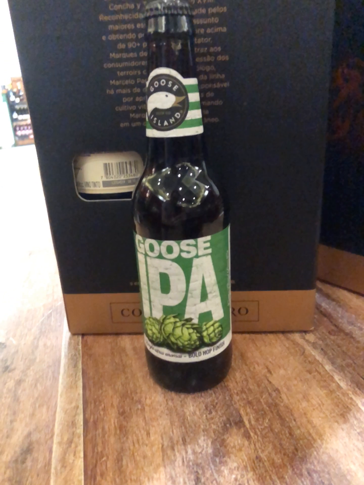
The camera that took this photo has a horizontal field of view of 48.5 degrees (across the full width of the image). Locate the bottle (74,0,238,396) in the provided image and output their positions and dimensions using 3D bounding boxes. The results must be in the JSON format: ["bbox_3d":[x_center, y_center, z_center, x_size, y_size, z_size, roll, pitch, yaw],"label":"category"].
[{"bbox_3d":[-0.003,-0.023,0.243,0.070,0.229,0.060,-1,20,8],"label":"bottle"}]
